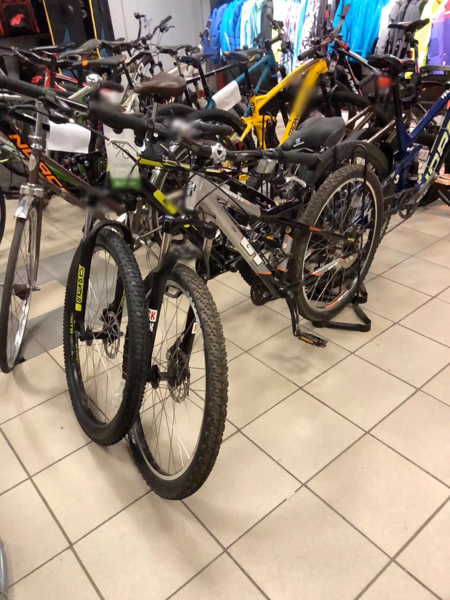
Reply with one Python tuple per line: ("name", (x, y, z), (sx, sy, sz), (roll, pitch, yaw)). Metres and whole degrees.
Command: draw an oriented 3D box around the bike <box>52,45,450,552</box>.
("bike", (0.294, -0.239, 1.591), (0.625, 1.012, 1.430), (13, 32, 27))
